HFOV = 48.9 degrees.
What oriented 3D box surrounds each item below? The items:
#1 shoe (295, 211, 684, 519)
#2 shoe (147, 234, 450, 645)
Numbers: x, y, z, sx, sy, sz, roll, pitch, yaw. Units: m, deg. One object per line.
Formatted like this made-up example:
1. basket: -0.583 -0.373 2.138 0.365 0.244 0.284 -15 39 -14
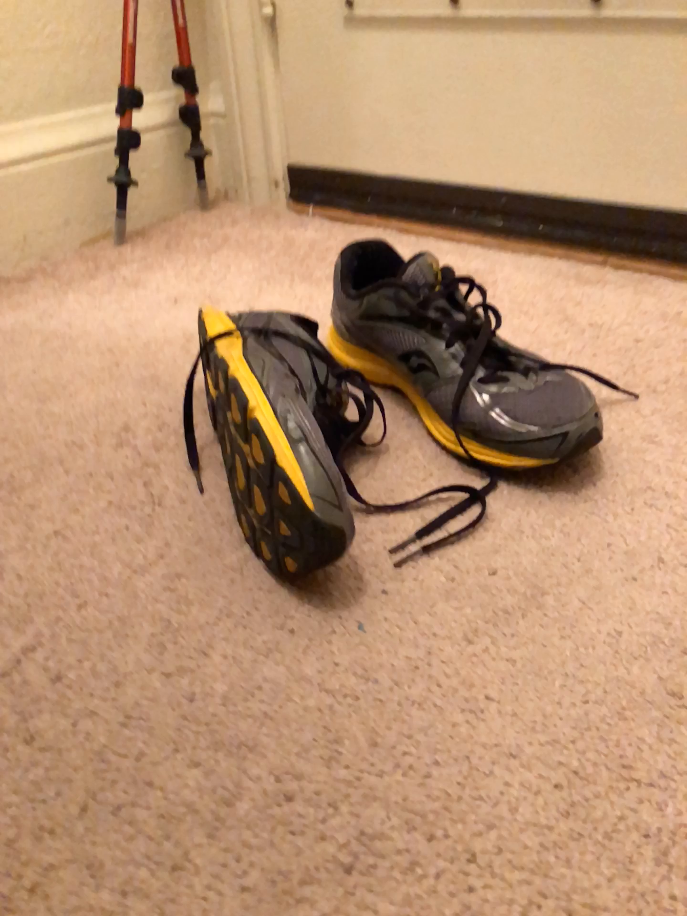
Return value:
1. shoe: 0.084 -0.089 0.558 0.118 0.098 0.284 -20 37 -22
2. shoe: -0.044 -0.038 0.501 0.109 0.117 0.295 -15 36 -13
